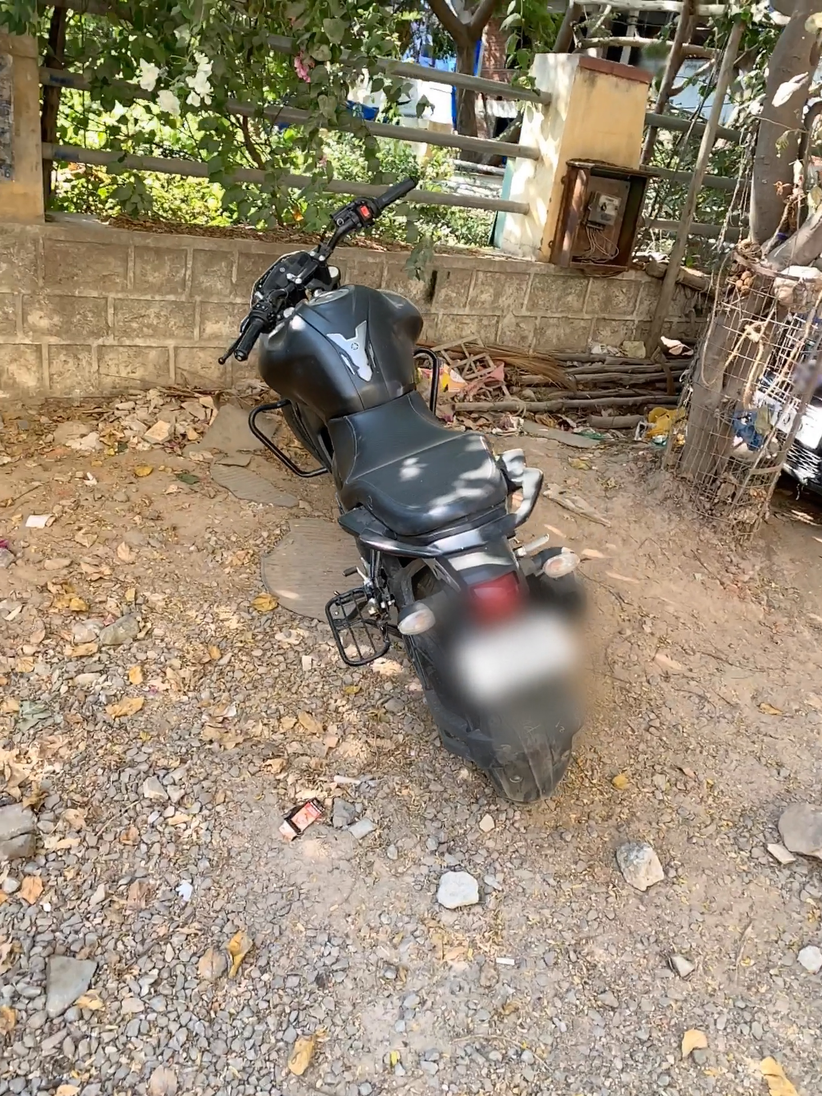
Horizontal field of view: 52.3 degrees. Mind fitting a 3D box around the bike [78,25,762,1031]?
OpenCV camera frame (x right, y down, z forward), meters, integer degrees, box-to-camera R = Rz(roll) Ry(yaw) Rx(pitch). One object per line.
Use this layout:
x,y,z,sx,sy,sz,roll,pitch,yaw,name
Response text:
-0.285,-0.261,2.101,0.819,1.498,1.762,-4,32,-26,bike
